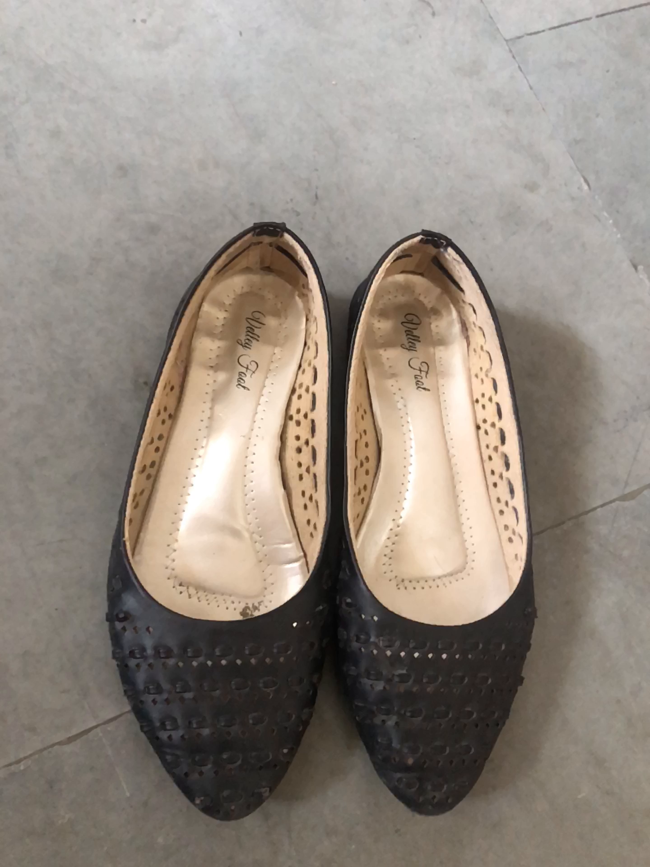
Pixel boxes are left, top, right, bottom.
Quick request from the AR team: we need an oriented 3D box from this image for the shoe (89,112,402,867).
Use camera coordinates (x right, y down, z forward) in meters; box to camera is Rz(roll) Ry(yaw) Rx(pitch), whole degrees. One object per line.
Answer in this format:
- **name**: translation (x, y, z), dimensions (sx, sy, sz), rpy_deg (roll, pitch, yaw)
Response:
- **shoe**: translation (-0.026, 0.016, 0.296), dimensions (0.100, 0.070, 0.270), rpy_deg (3, 78, -7)

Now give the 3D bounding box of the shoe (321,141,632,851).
- **shoe**: translation (0.054, 0.017, 0.320), dimensions (0.100, 0.070, 0.280), rpy_deg (3, 73, -7)
